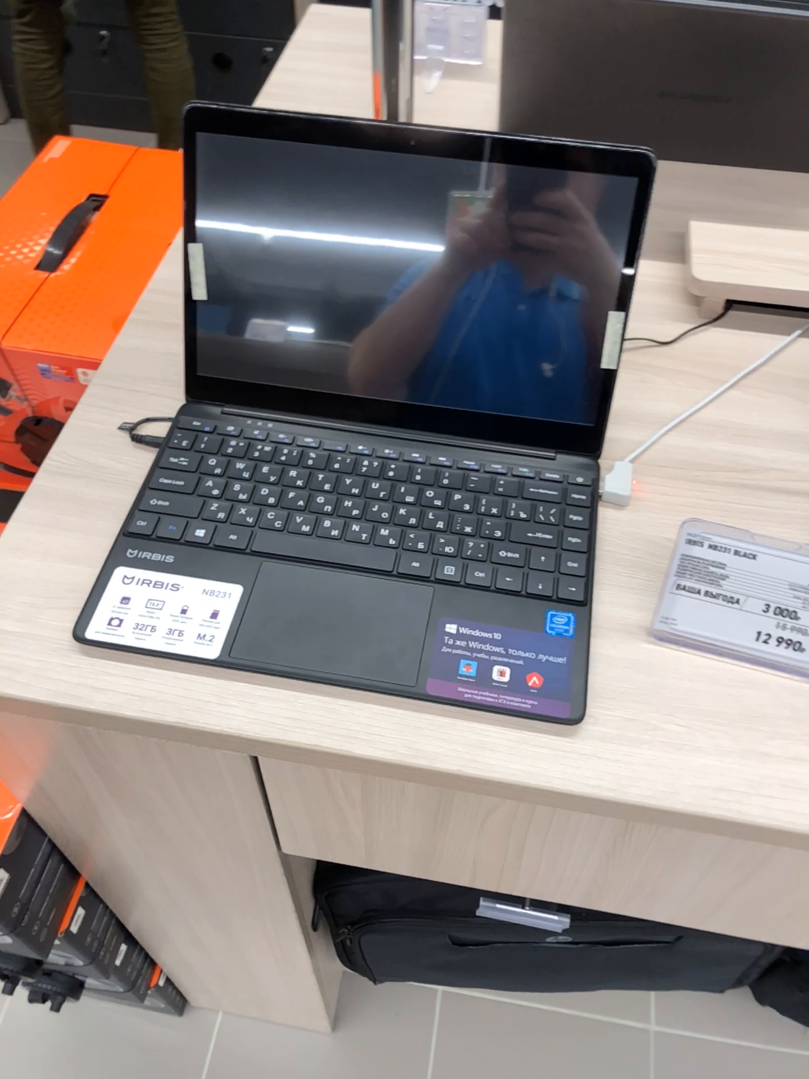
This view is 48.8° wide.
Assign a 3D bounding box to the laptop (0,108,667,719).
[{"bbox_3d":[-0.015,-0.092,0.546,0.304,0.172,0.307,8,52,7],"label":"laptop"}]
